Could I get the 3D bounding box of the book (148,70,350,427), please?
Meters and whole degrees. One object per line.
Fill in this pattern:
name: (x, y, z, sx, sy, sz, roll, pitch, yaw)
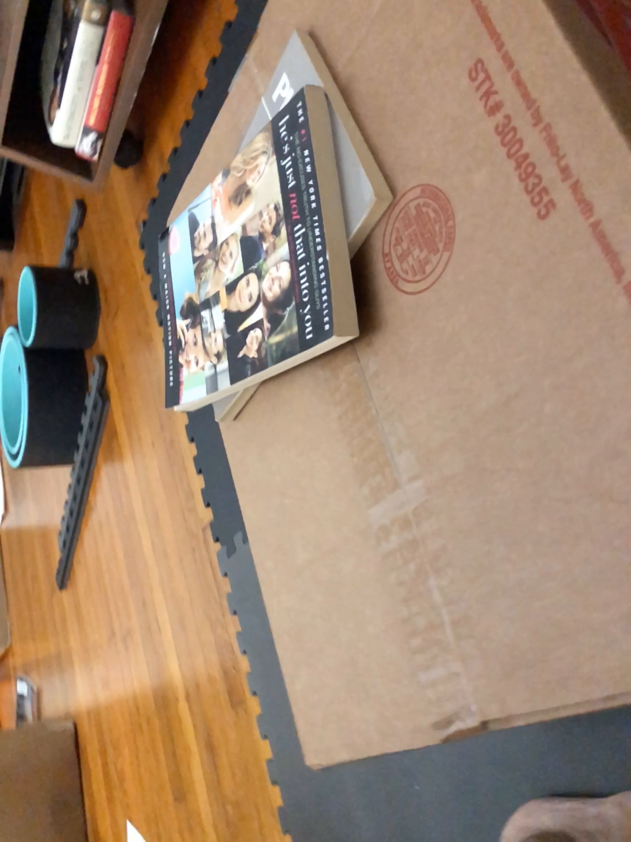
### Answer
book: (-0.058, -0.090, 0.453, 0.231, 0.010, 0.150, -19, 76, 55)
